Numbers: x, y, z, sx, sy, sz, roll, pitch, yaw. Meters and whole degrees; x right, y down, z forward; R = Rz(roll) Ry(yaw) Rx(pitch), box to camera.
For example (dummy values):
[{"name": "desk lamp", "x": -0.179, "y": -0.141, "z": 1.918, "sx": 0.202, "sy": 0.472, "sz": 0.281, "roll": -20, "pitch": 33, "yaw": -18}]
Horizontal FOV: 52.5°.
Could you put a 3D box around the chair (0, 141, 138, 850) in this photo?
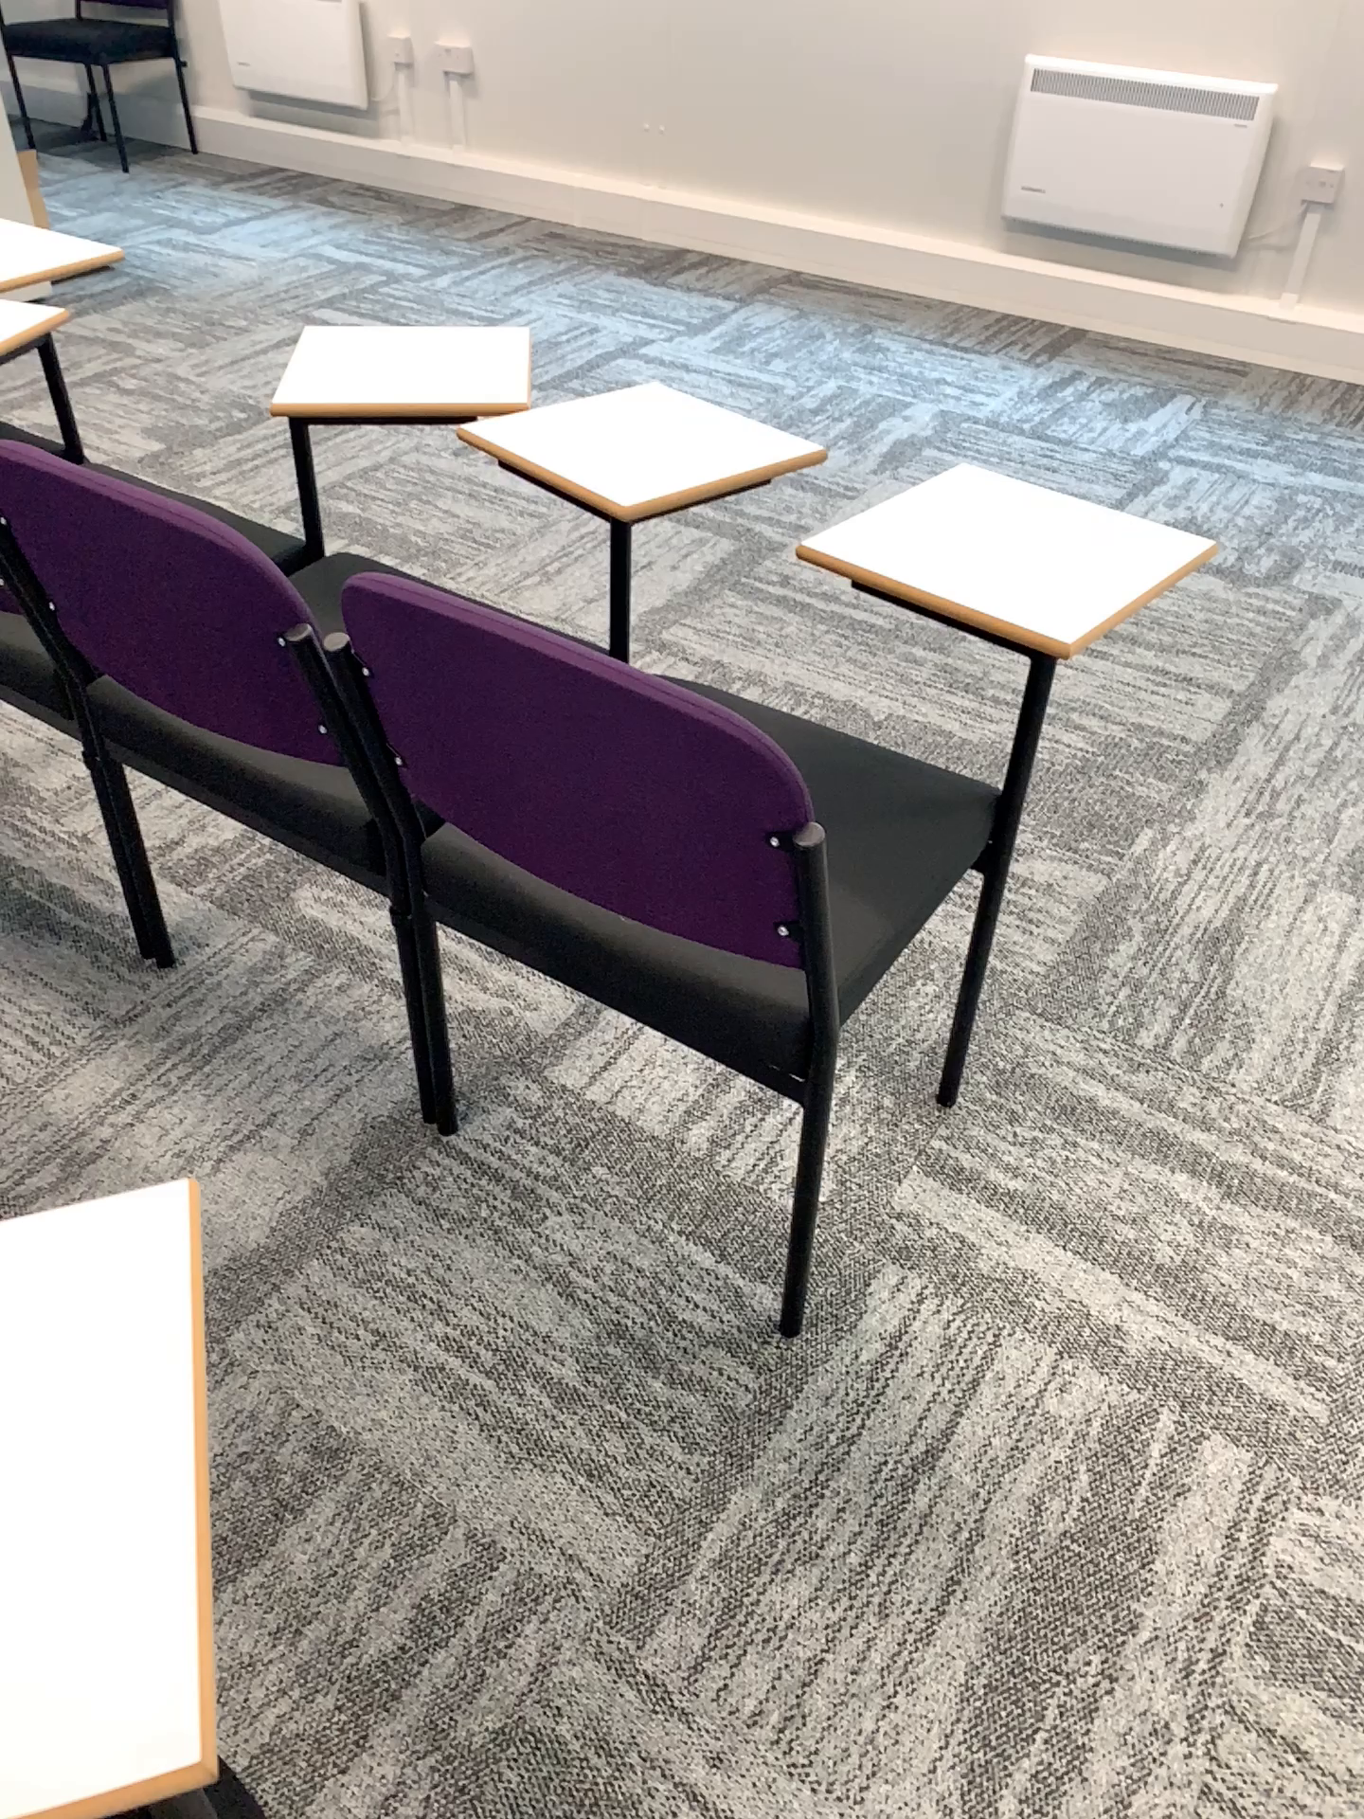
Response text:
[{"name": "chair", "x": -1.276, "y": -0.620, "z": 2.054, "sx": 0.517, "sy": 0.791, "sz": 0.504, "roll": 24, "pitch": 45, "yaw": 25}]

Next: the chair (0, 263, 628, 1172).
[{"name": "chair", "x": -0.419, "y": -0.229, "z": 1.605, "sx": 0.517, "sy": 0.791, "sz": 0.494, "roll": 24, "pitch": 45, "yaw": 25}]

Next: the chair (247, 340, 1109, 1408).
[{"name": "chair", "x": 0.007, "y": -0.042, "z": 1.388, "sx": 0.517, "sy": 0.801, "sz": 0.504, "roll": 24, "pitch": 45, "yaw": 25}]

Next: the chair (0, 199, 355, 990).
[{"name": "chair", "x": -0.845, "y": -0.421, "z": 1.832, "sx": 0.517, "sy": 0.791, "sz": 0.484, "roll": 24, "pitch": 45, "yaw": 25}]

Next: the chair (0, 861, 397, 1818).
[{"name": "chair", "x": -0.552, "y": 0.515, "z": 0.692, "sx": 0.518, "sy": 0.801, "sz": 0.503, "roll": 29, "pitch": 47, "yaw": 29}]
